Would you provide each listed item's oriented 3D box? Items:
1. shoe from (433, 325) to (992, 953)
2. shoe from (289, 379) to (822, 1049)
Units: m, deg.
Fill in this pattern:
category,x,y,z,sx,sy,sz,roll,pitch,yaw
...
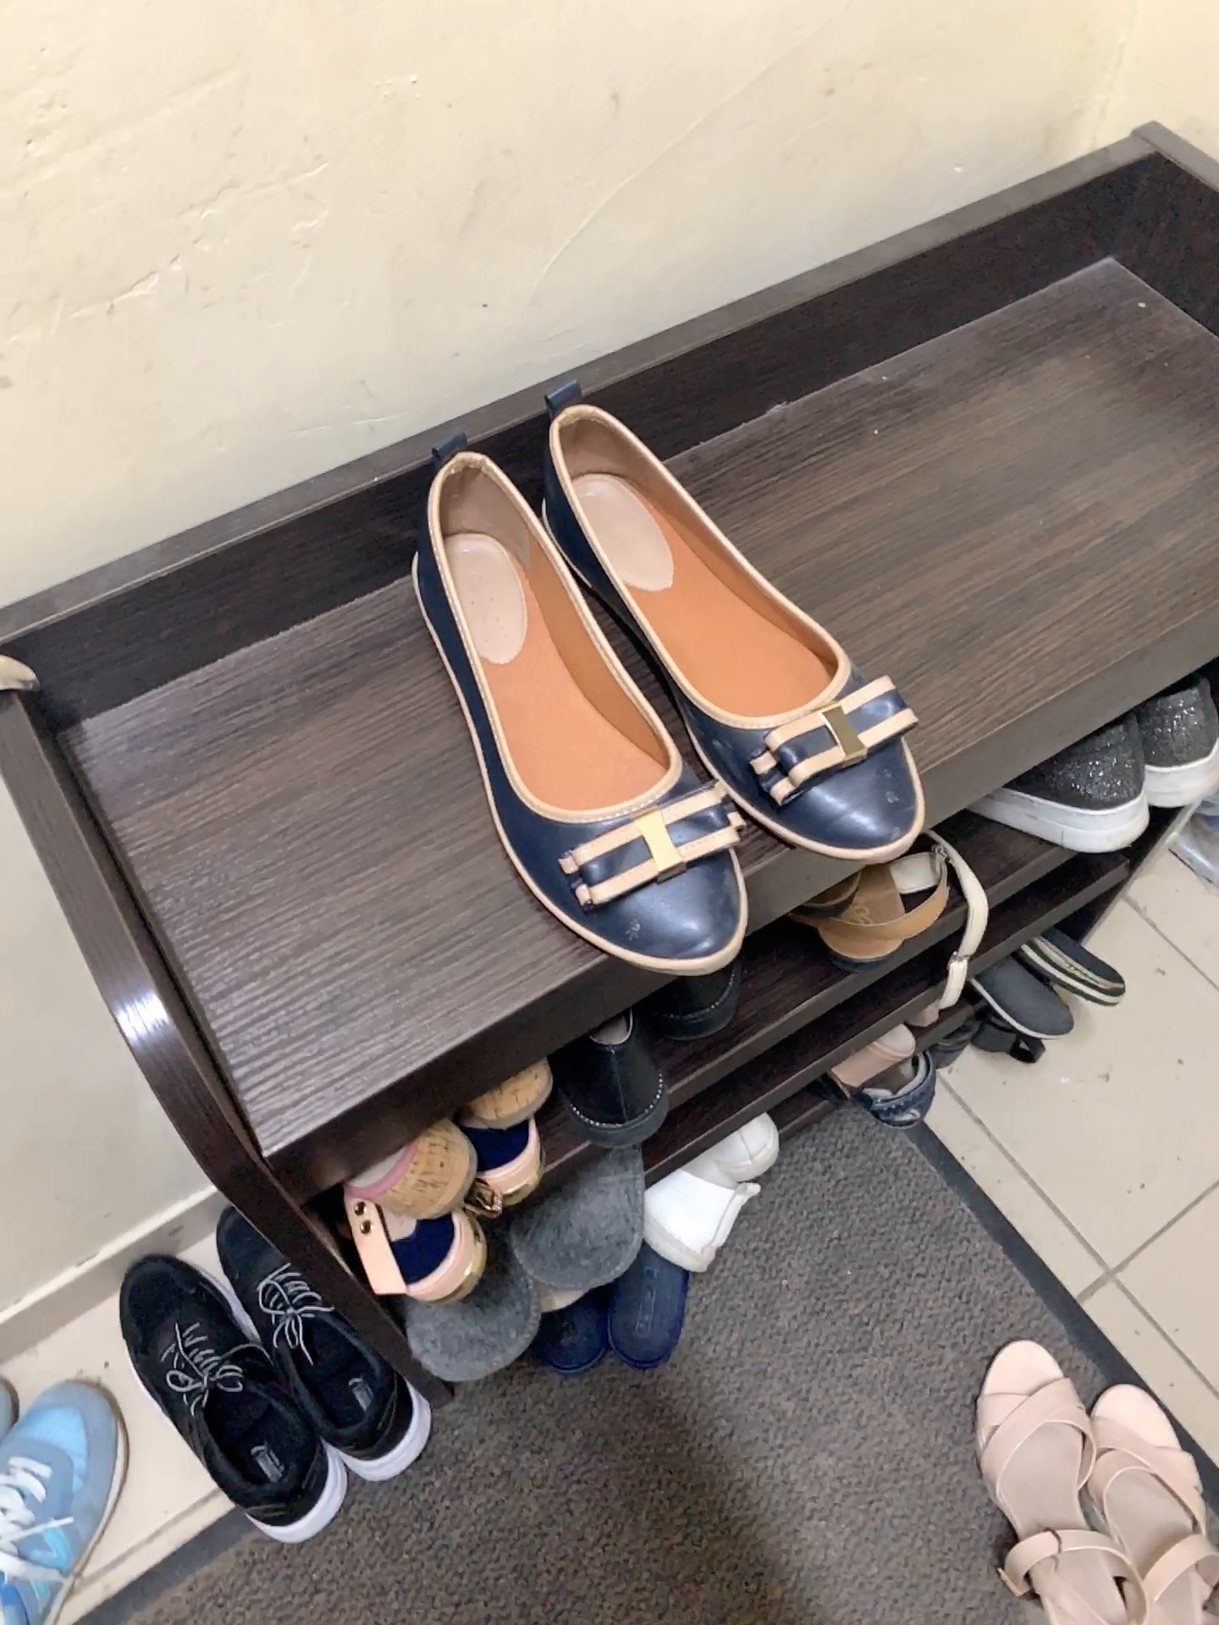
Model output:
category,x,y,z,sx,sy,sz,roll,pitch,yaw
shoe,0.036,-0.088,0.577,0.100,0.100,0.281,-30,62,-11
shoe,-0.030,-0.052,0.552,0.100,0.100,0.281,-28,61,-10
